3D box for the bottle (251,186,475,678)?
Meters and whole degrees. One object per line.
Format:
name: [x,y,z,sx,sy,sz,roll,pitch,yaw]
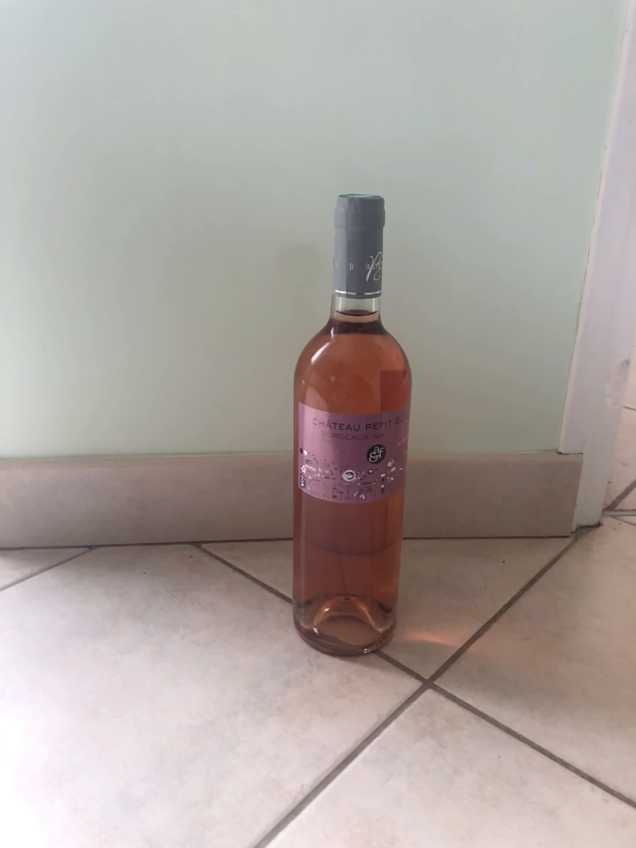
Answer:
bottle: [0.023,0.004,0.450,0.090,0.288,0.090,1,22,0]
